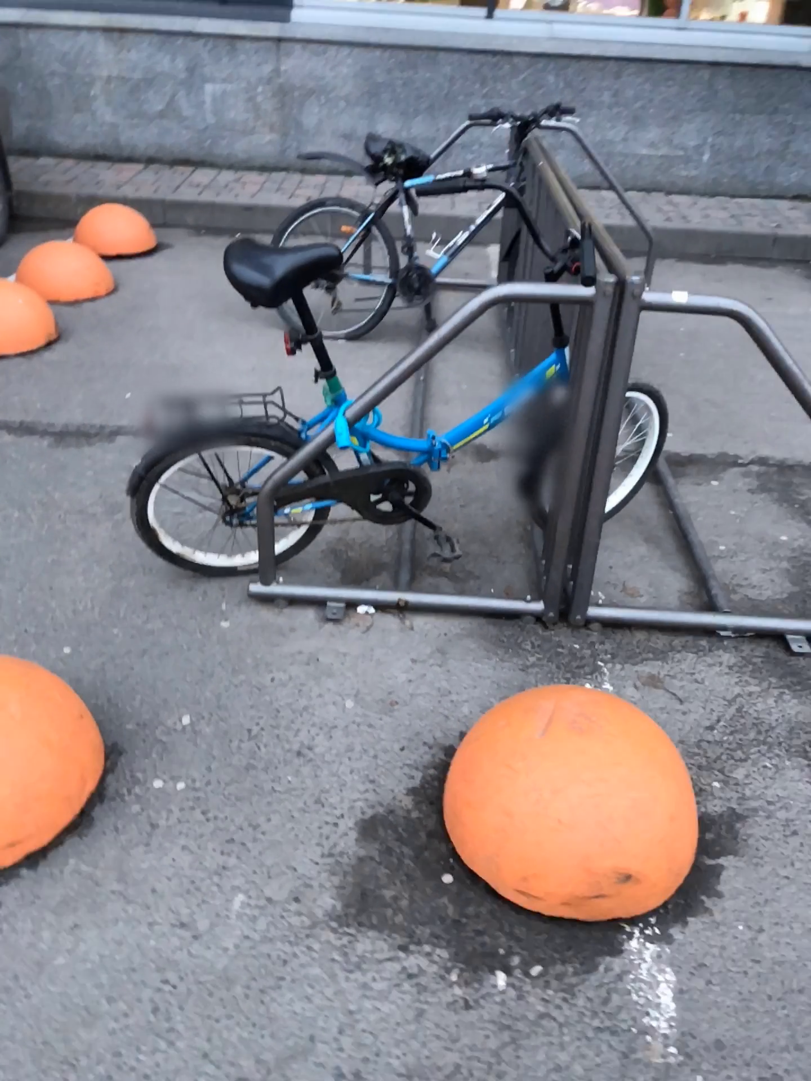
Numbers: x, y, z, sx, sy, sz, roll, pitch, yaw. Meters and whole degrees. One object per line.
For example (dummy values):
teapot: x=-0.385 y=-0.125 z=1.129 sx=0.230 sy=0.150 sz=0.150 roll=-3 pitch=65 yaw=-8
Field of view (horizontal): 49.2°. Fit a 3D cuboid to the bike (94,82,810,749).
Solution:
bike: x=0.086 y=-0.335 z=2.002 sx=1.421 sy=0.991 sz=0.727 roll=-11 pitch=34 yaw=-11
